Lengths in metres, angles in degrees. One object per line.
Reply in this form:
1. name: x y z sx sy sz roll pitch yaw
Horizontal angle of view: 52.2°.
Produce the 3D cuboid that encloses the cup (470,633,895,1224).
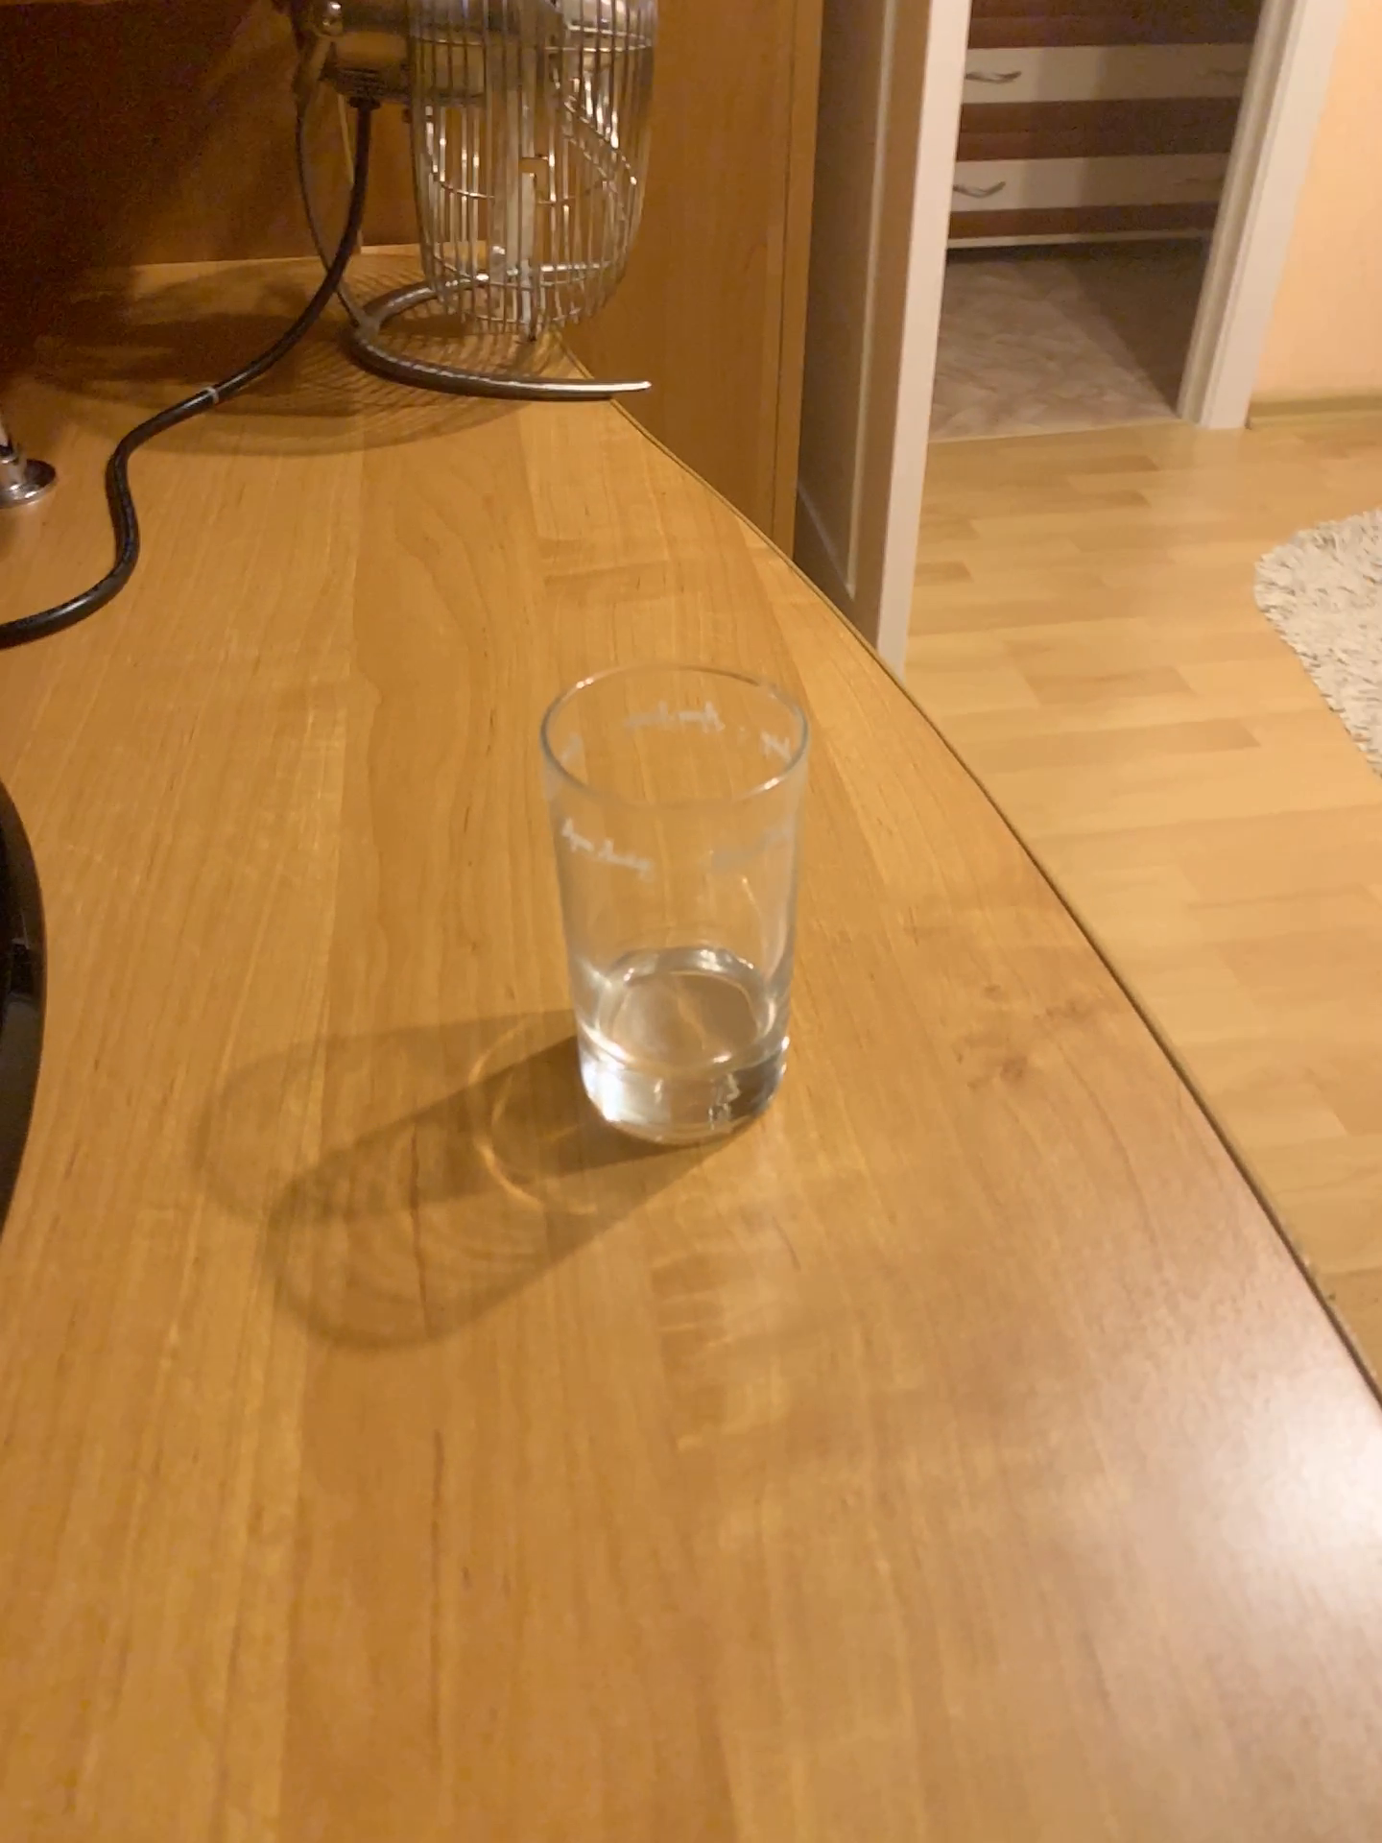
1. cup: -0.001 0.001 0.313 0.060 0.099 0.060 0 40 0
